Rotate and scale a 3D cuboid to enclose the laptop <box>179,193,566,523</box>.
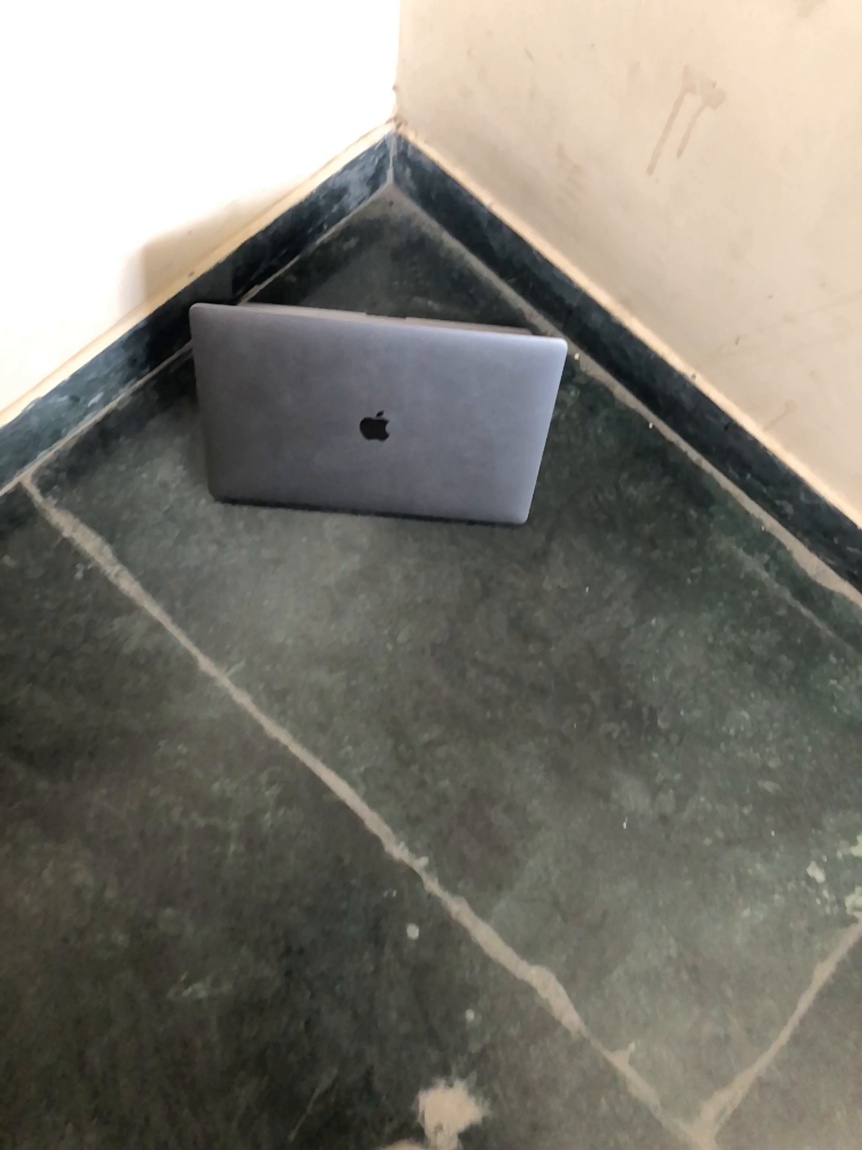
[{"bbox_3d":[-0.053,-0.206,0.947,0.329,0.199,0.221,5,73,-1],"label":"laptop"}]
